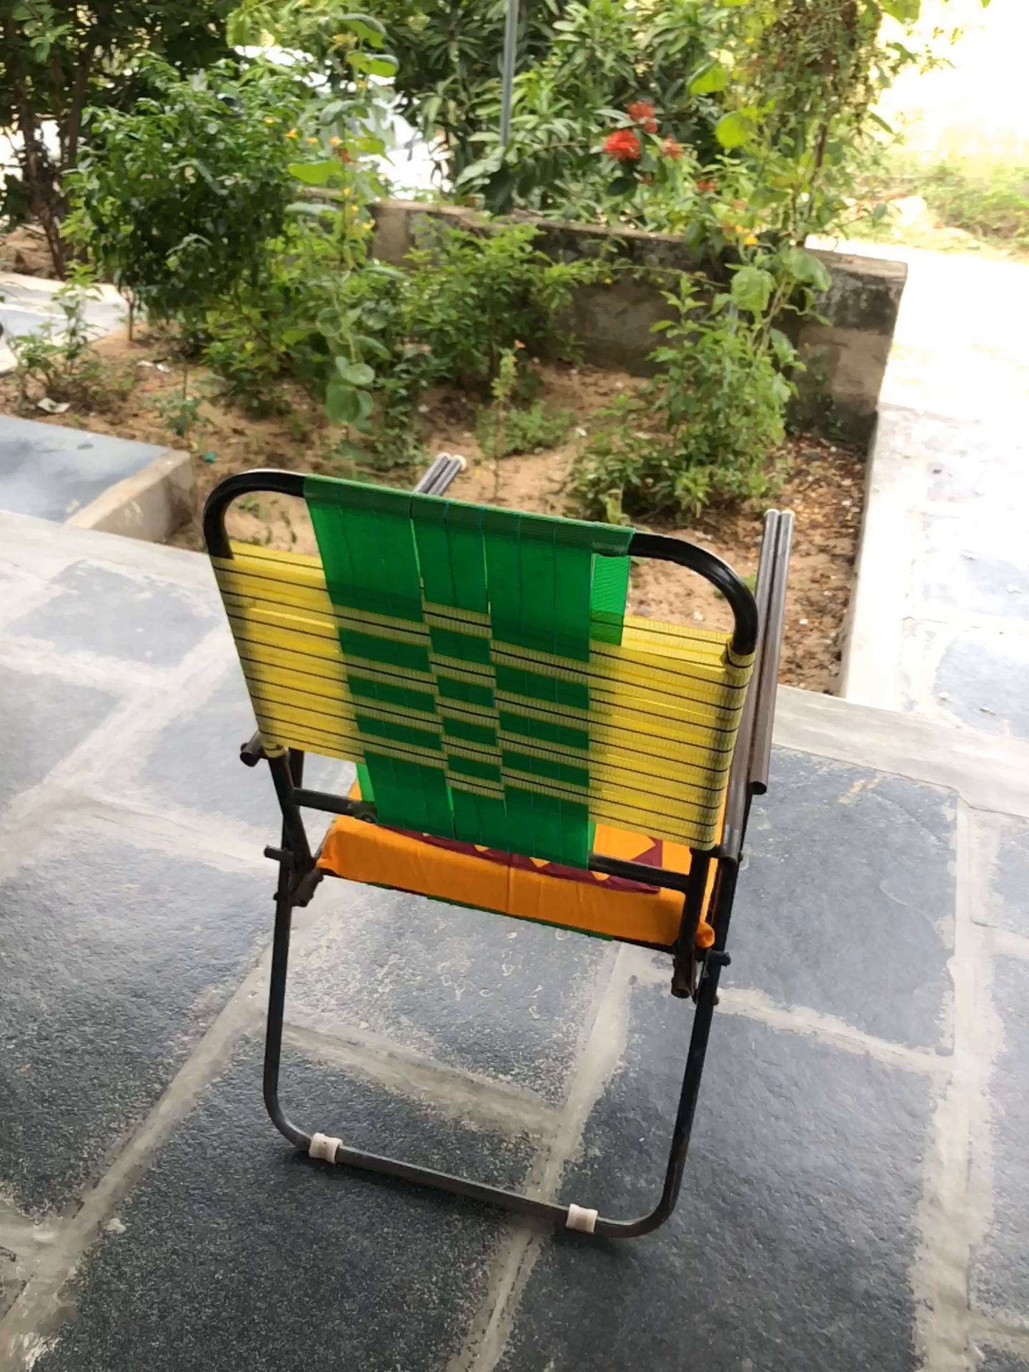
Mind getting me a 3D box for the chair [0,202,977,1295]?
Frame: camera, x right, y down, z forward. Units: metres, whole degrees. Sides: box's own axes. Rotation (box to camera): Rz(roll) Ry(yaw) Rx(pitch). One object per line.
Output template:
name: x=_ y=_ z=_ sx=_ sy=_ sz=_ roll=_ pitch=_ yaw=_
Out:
chair: x=0.014 y=0.022 z=1.220 sx=0.660 sy=0.825 sz=0.684 roll=10 pitch=36 yaw=10
